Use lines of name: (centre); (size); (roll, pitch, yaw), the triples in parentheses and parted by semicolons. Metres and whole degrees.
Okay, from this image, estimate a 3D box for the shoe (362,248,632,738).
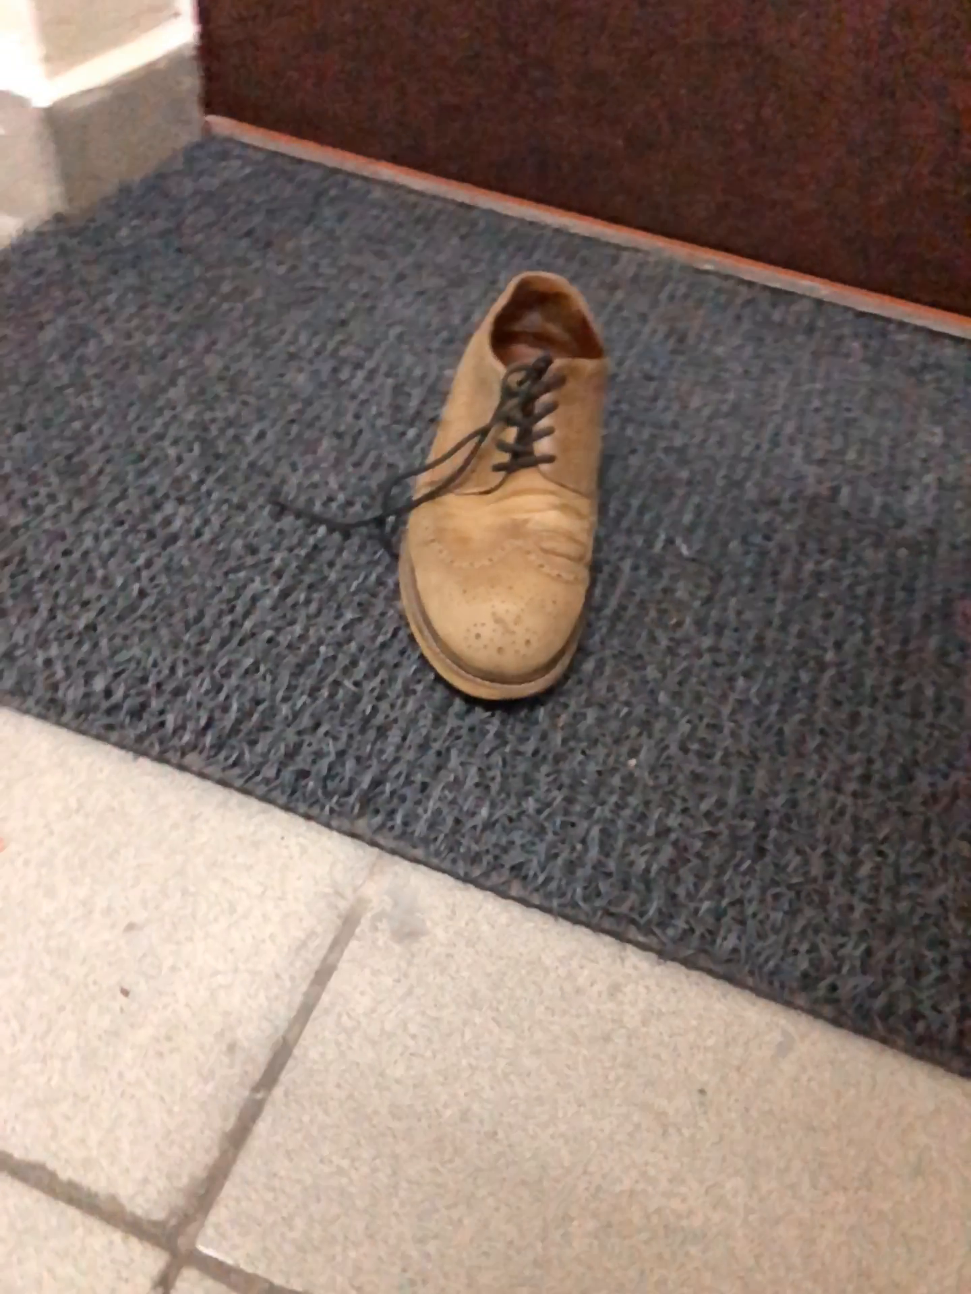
shoe: (0.015, -0.104, 0.611); (0.110, 0.099, 0.302); (9, 46, 1)
